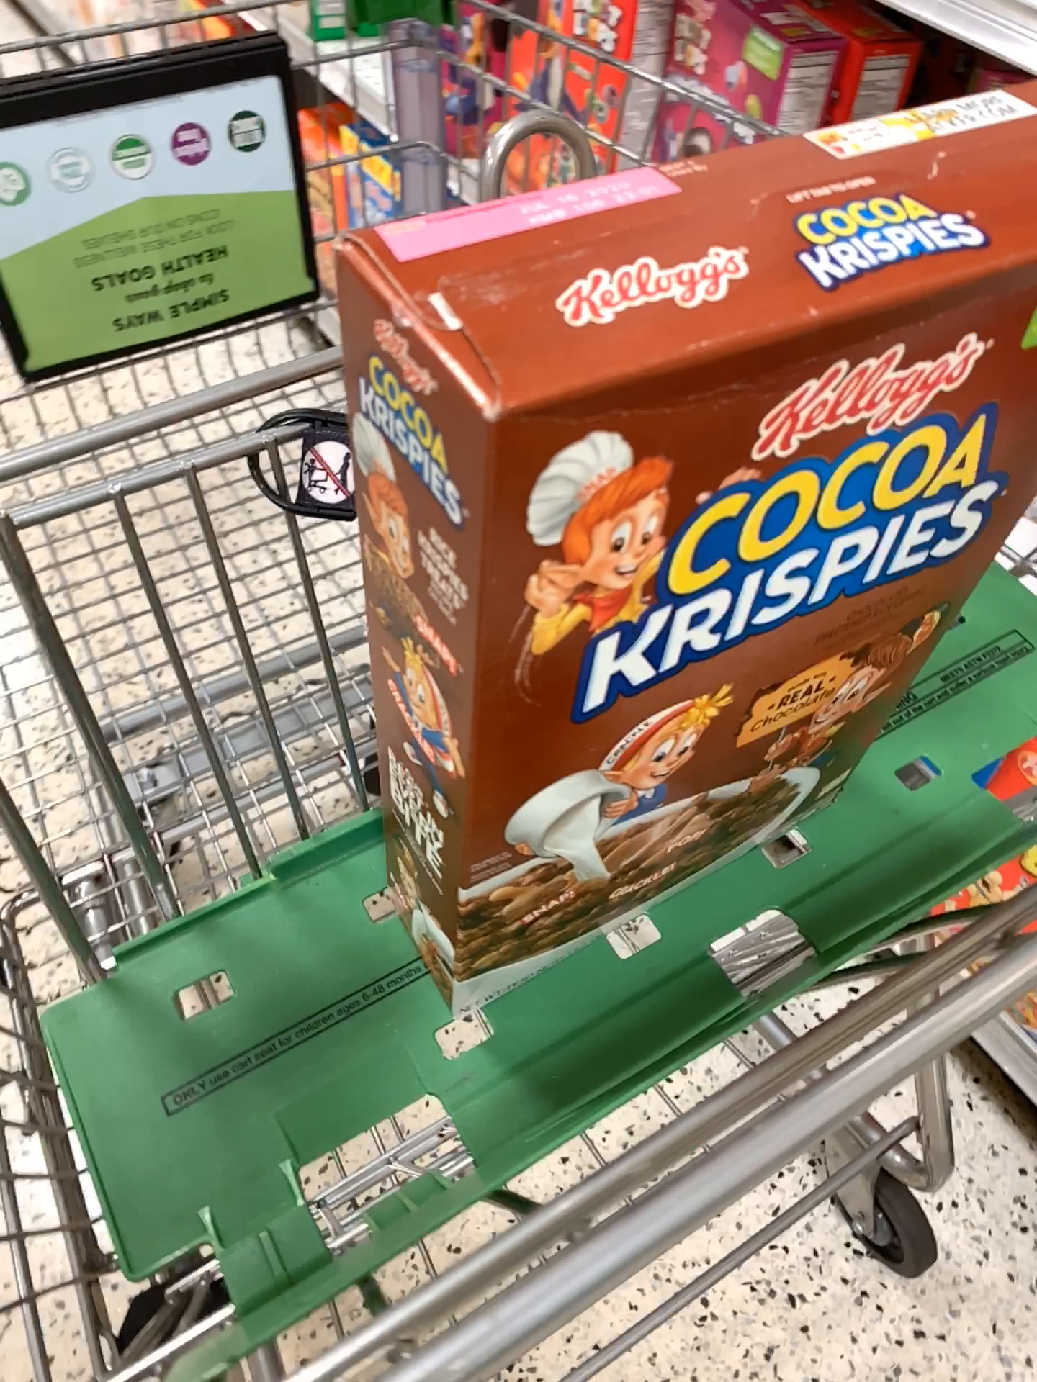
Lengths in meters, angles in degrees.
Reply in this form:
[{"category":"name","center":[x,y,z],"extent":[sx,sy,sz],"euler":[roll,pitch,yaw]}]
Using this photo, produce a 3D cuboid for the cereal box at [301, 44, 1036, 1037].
[{"category":"cereal box","center":[0.051,-0.012,0.339],"extent":[0.201,0.307,0.060],"euler":[-23,60,-20]}]
